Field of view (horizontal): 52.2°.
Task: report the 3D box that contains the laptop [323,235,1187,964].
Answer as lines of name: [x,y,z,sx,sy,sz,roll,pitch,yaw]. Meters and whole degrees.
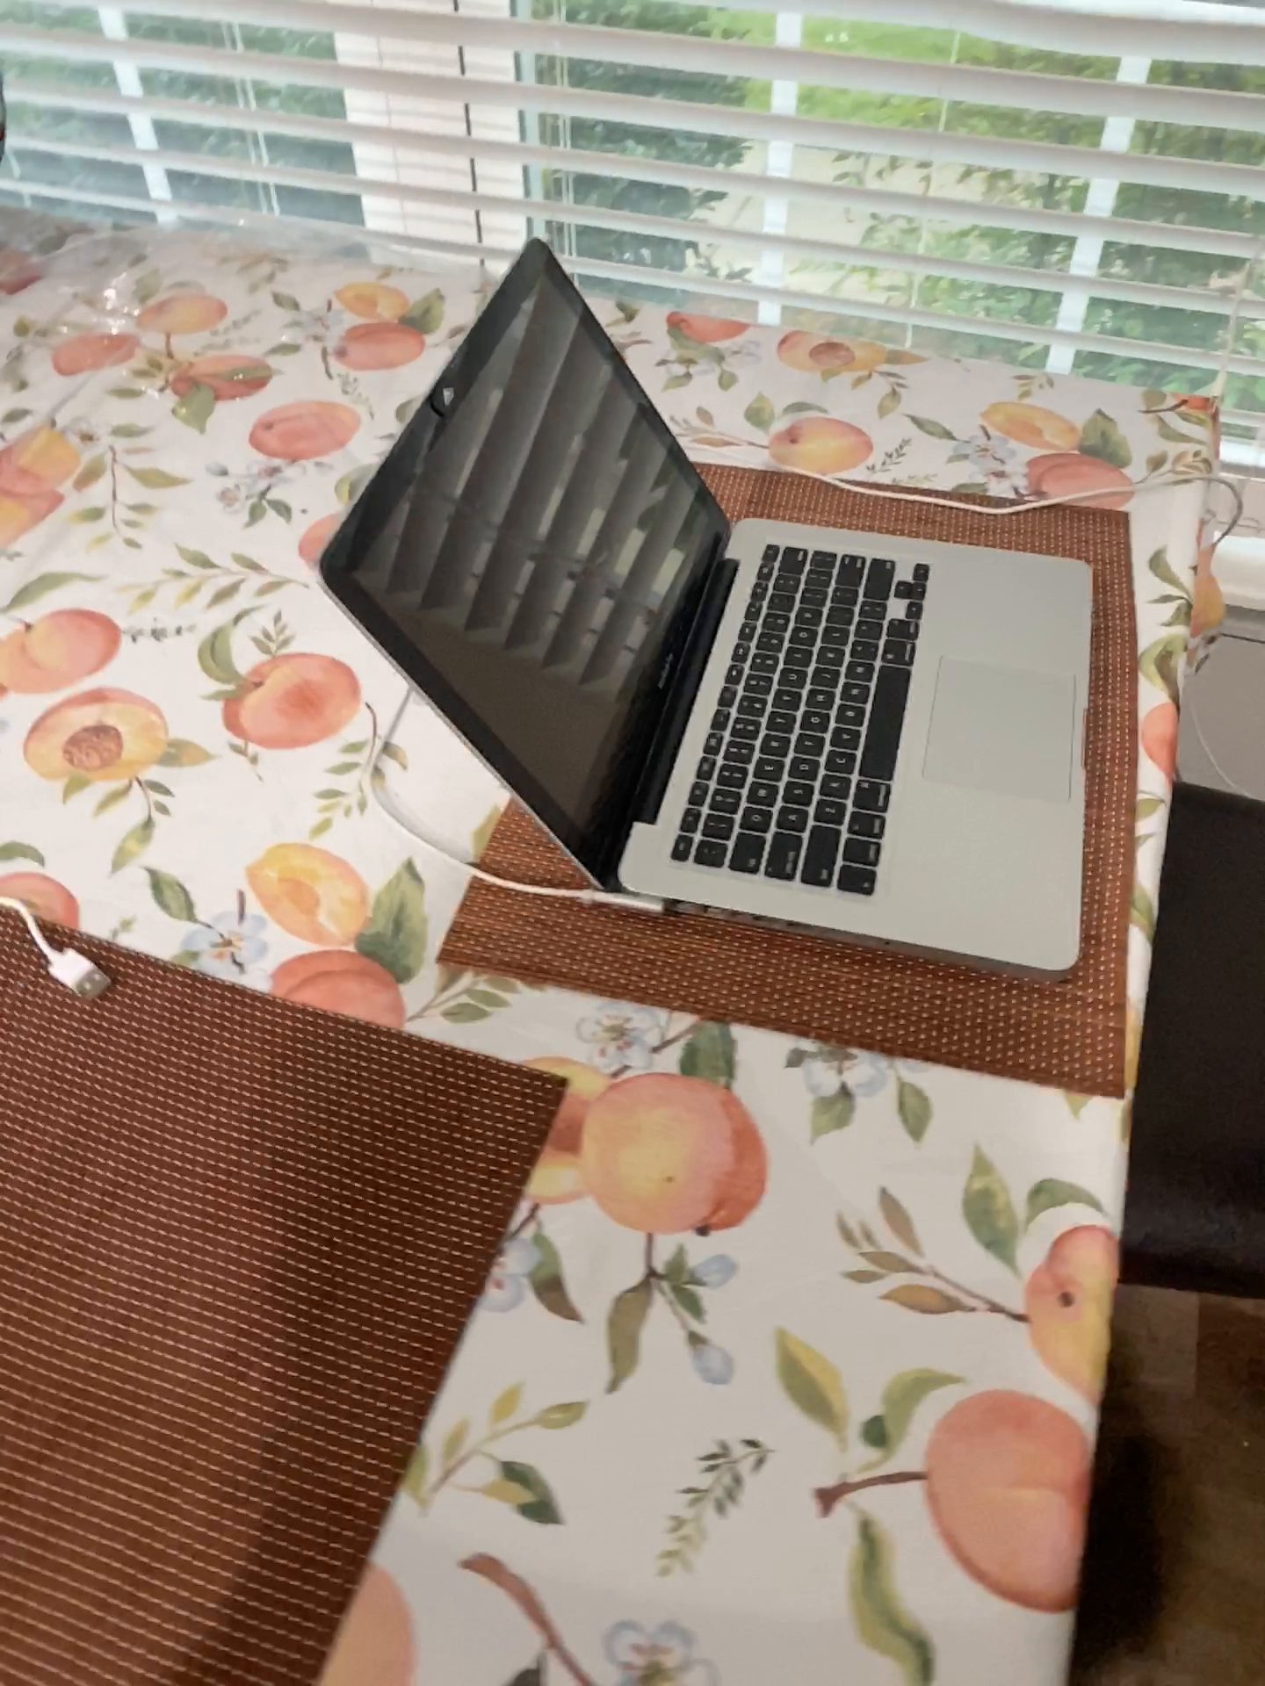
laptop: [0.079,-0.146,0.673,0.348,0.162,0.318,10,51,10]
